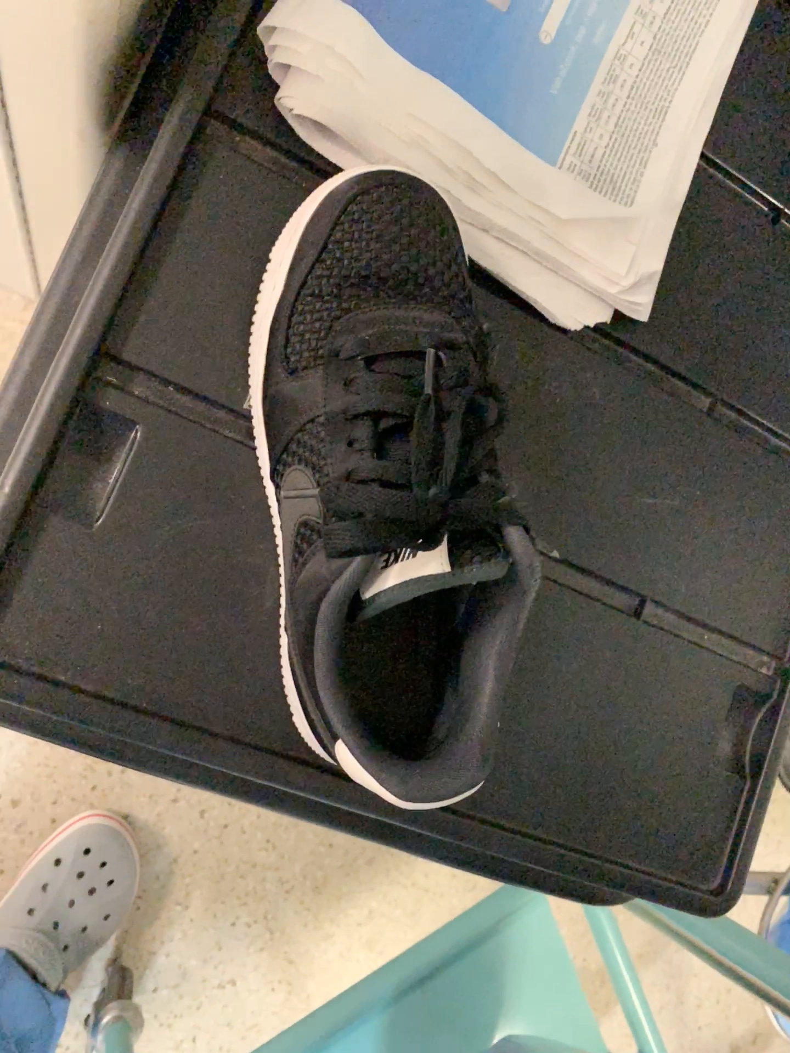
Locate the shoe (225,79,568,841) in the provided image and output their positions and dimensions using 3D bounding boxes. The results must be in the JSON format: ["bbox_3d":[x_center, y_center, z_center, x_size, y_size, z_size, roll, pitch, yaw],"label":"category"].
[{"bbox_3d":[-0.005,-0.021,0.300,0.090,0.094,0.224,-3,91,-21],"label":"shoe"}]
